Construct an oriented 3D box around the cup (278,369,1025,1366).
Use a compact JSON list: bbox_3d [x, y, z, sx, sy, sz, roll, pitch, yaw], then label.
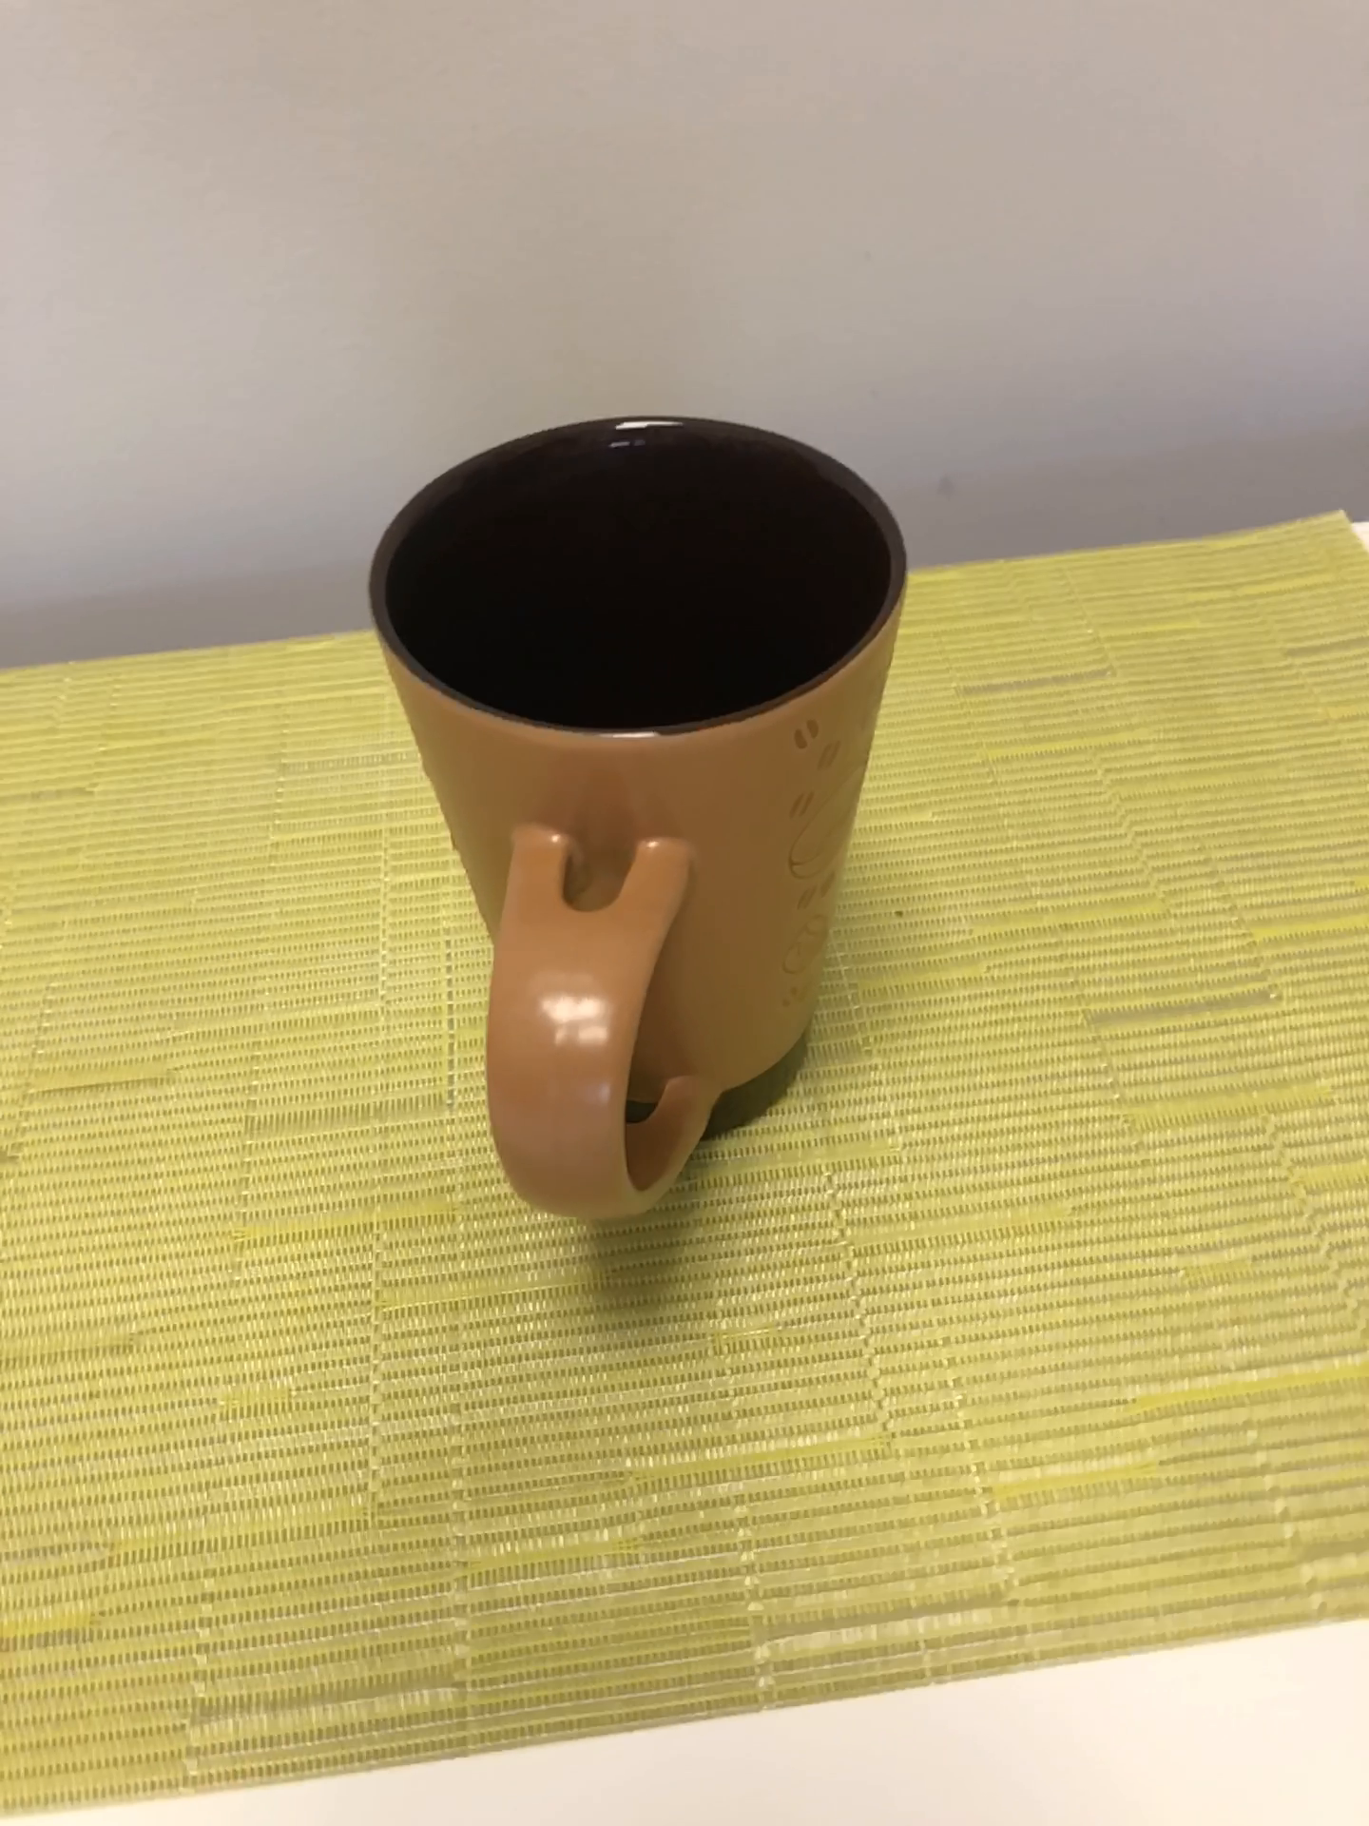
[{"bbox_3d":[0.002,-0.009,0.269,0.090,0.120,0.127,2,47,4],"label":"cup"}]
